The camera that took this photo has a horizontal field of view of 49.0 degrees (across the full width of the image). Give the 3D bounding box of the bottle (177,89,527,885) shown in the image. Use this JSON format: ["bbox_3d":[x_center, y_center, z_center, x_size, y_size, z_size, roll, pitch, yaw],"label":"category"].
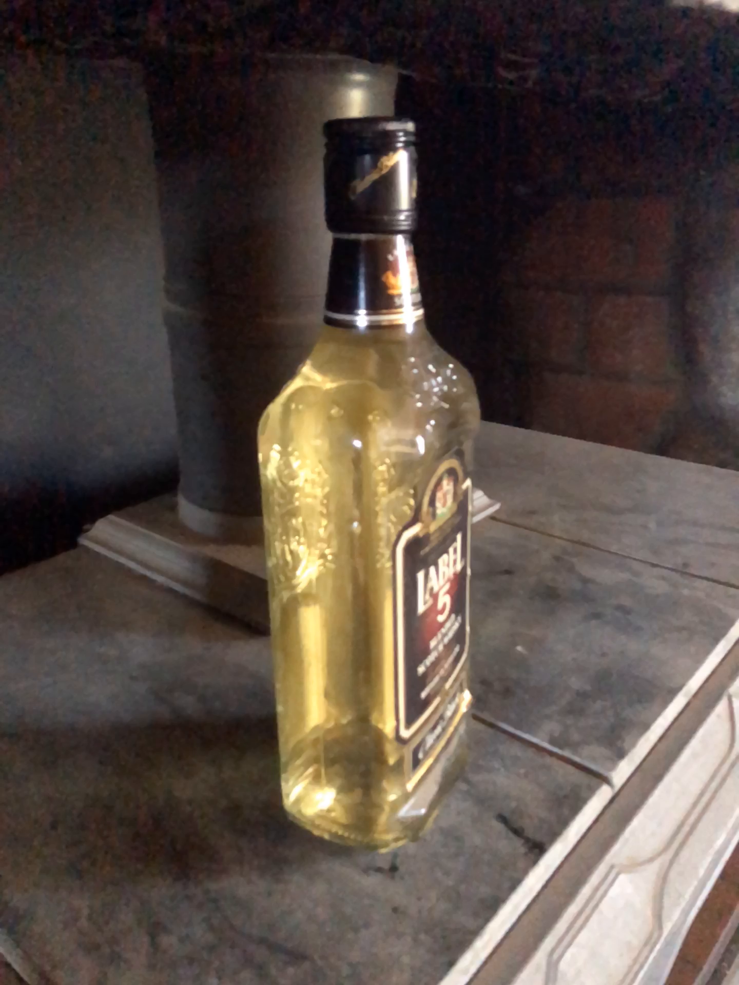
[{"bbox_3d":[0.005,-0.003,0.294,0.060,0.249,0.111,10,25,27],"label":"bottle"}]
